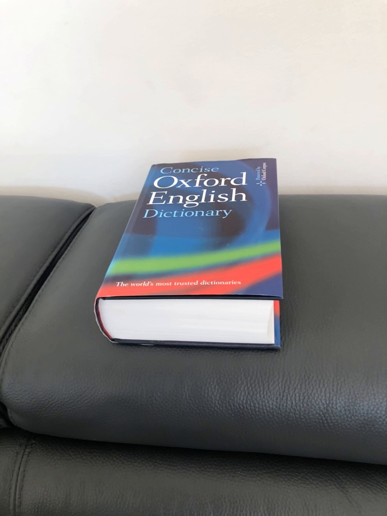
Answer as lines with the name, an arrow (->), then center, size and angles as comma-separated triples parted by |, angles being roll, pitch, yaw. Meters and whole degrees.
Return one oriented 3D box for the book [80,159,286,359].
book -> 0.007, -0.015, 0.465 | 0.170, 0.070, 0.251 | -1, 38, 9
